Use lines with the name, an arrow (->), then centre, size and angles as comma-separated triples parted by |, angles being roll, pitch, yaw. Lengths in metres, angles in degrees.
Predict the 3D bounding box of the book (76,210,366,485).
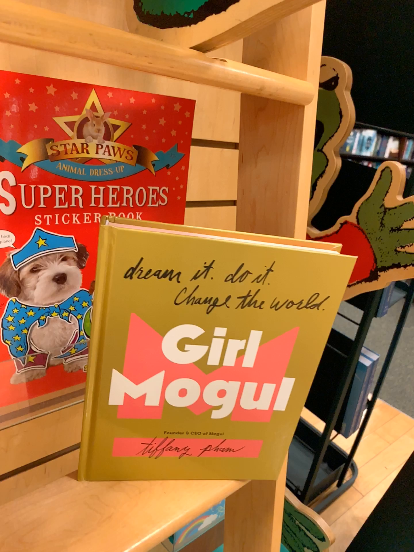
book -> 0.001, 0.070, 0.332 | 0.180, 0.219, 0.030 | 6, 24, -14
